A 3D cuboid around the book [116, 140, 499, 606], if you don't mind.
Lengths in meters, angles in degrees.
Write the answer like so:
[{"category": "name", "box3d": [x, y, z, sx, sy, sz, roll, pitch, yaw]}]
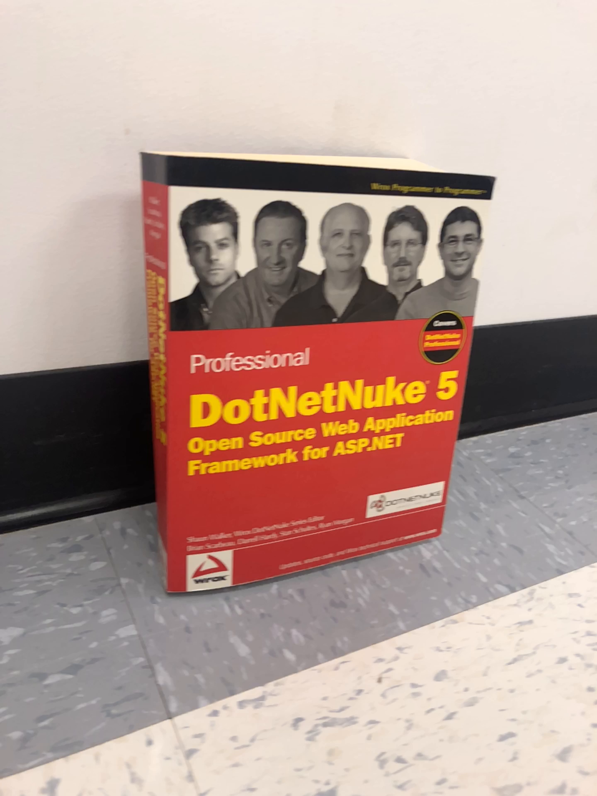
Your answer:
[{"category": "book", "box3d": [0.004, -0.018, 0.408, 0.210, 0.249, 0.060, -6, 20, -25]}]
